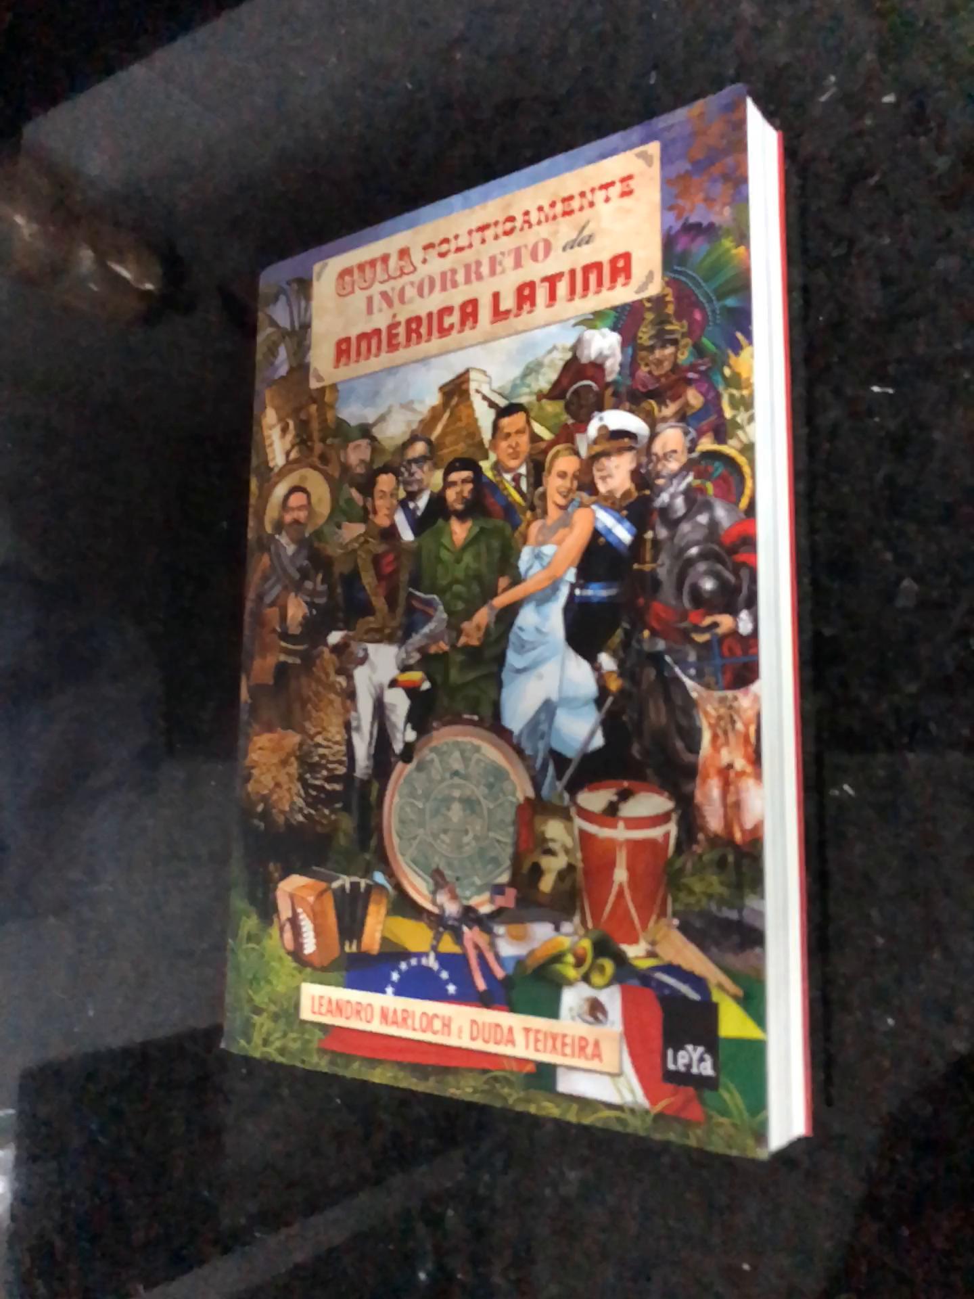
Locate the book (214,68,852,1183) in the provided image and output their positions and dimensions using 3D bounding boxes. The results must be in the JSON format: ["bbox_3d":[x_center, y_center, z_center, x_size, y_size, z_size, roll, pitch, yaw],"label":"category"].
[{"bbox_3d":[0.004,-0.005,0.267,0.151,0.040,0.220,-5,79,34],"label":"book"}]
